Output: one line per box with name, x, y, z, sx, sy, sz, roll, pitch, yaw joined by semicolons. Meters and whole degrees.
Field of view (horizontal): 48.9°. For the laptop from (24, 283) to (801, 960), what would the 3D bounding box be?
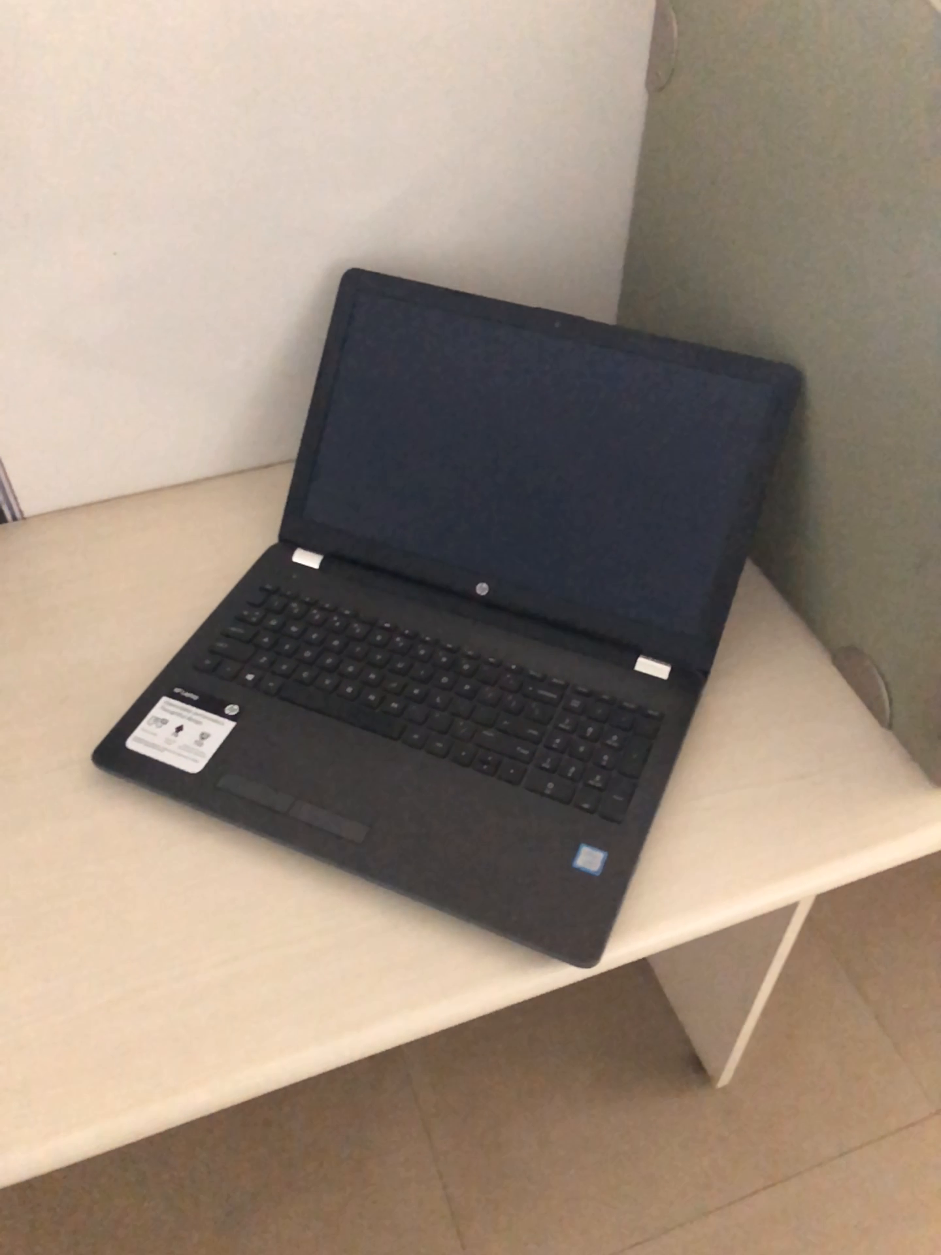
laptop;-0.012;-0.044;0.732;0.366;0.167;0.395;18;48;17
